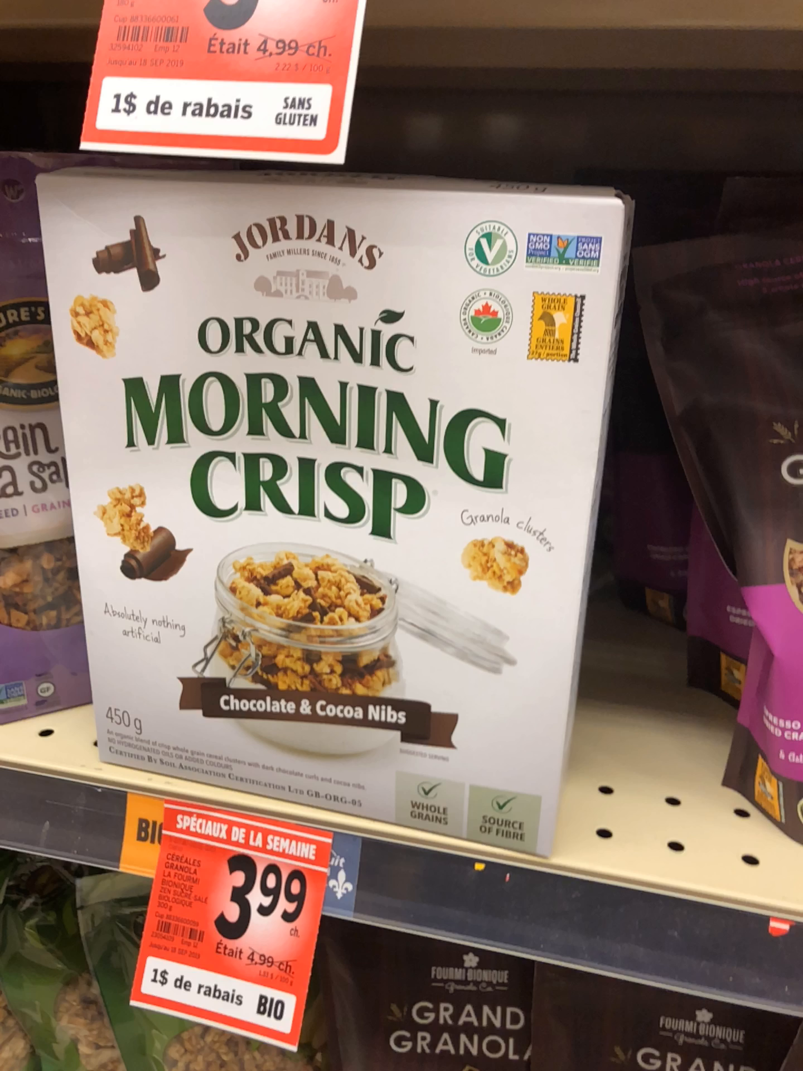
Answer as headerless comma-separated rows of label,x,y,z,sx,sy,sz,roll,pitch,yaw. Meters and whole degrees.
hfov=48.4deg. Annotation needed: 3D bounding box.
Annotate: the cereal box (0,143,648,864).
cereal box,-0.026,-0.012,0.294,0.180,0.209,0.050,8,22,14
